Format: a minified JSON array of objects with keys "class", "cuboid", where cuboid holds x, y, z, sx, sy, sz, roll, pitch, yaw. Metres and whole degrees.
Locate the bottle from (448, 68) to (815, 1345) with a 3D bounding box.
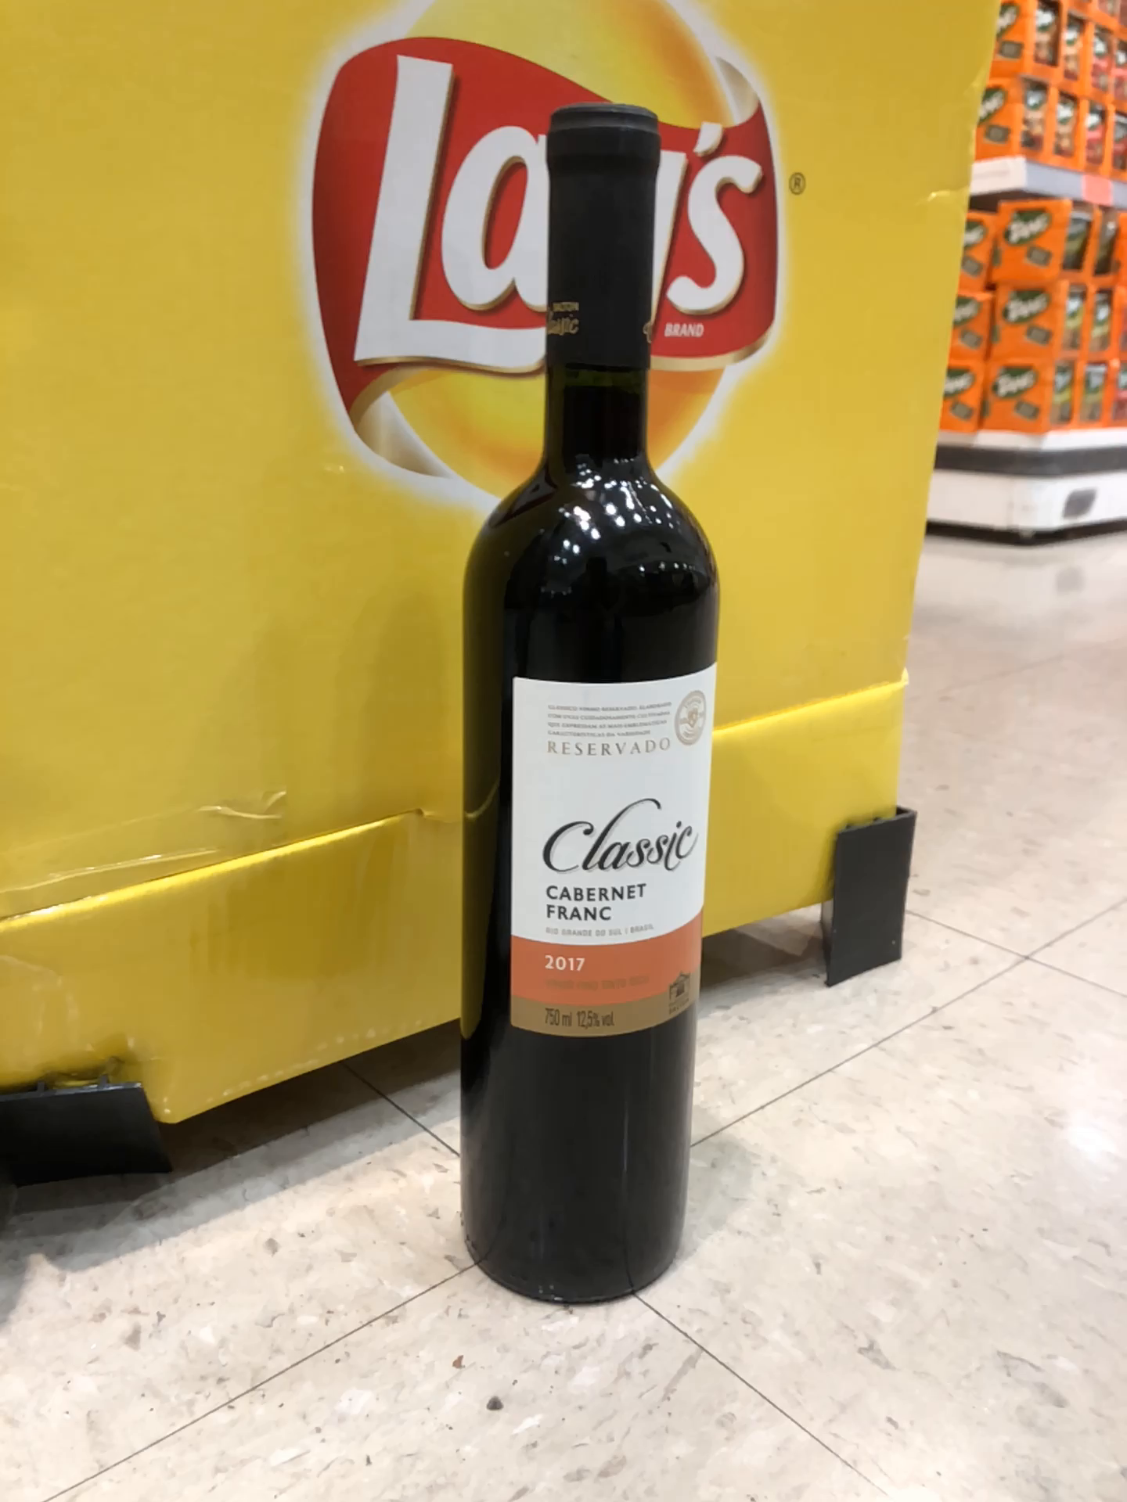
[{"class":"bottle","cuboid":[0.011,0.001,0.339,0.070,0.318,0.060,-4,17,-16]}]
